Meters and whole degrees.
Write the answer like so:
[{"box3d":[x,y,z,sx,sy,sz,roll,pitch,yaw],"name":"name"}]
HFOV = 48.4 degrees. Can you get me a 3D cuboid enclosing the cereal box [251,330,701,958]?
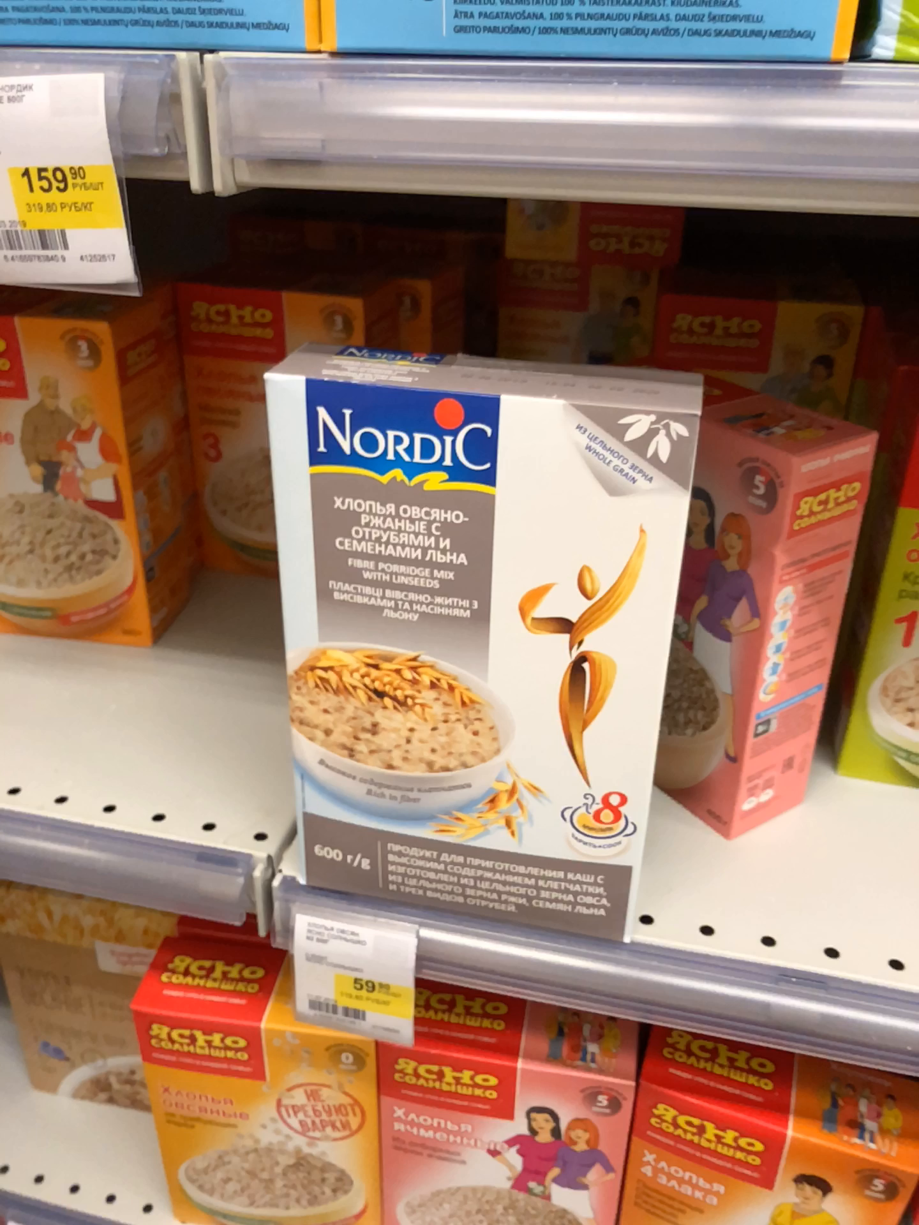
[{"box3d":[0.006,0.018,0.388,0.140,0.229,0.050,6,29,10],"name":"cereal box"}]
